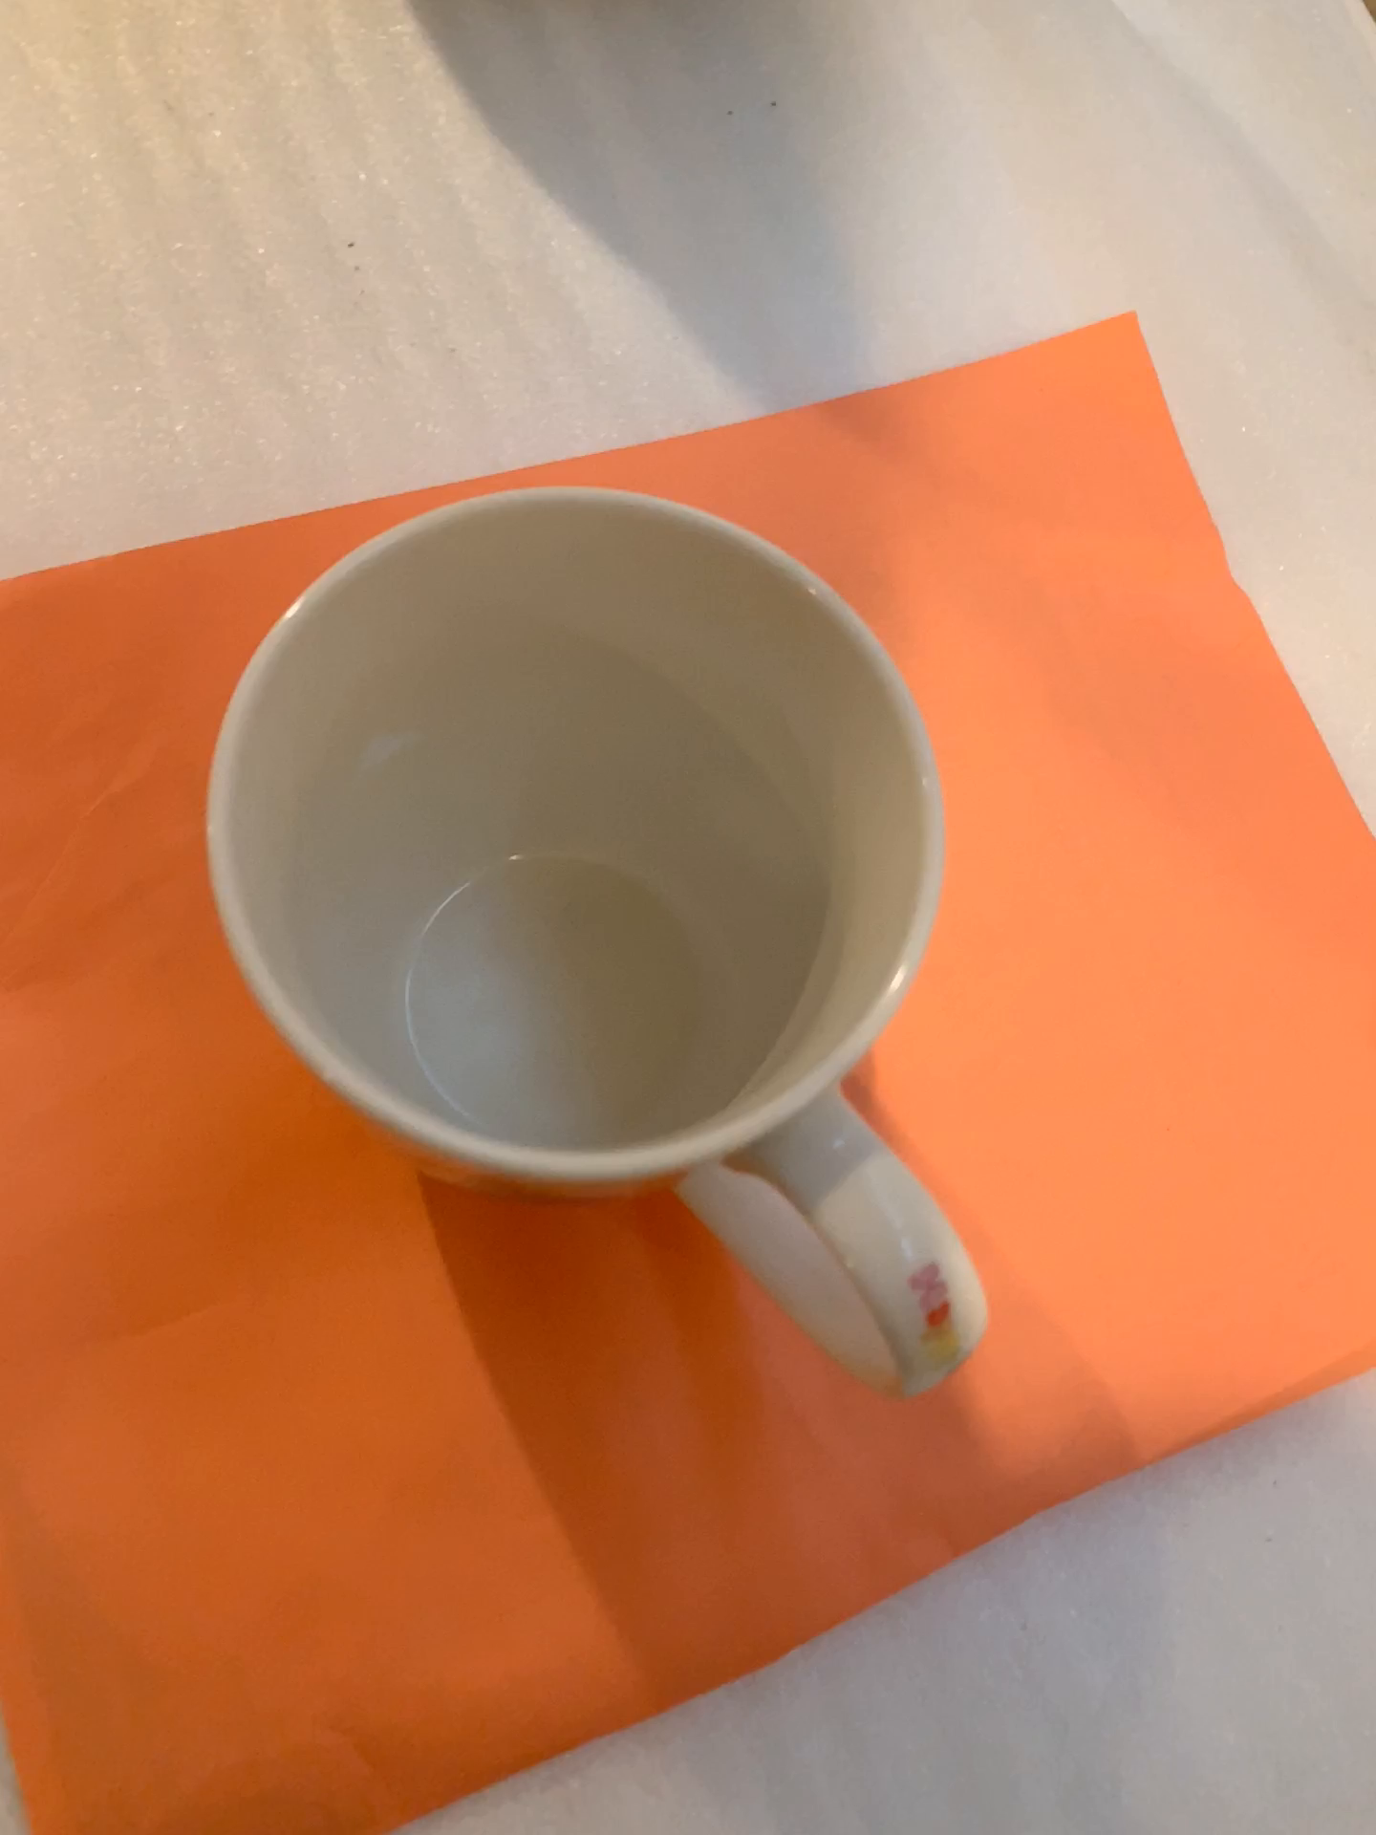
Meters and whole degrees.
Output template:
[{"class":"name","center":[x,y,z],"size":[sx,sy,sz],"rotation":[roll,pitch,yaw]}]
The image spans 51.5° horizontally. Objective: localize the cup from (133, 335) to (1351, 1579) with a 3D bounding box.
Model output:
[{"class":"cup","center":[0.001,0.008,0.208],"size":[0.090,0.090,0.120],"rotation":[-33,80,-17]}]
